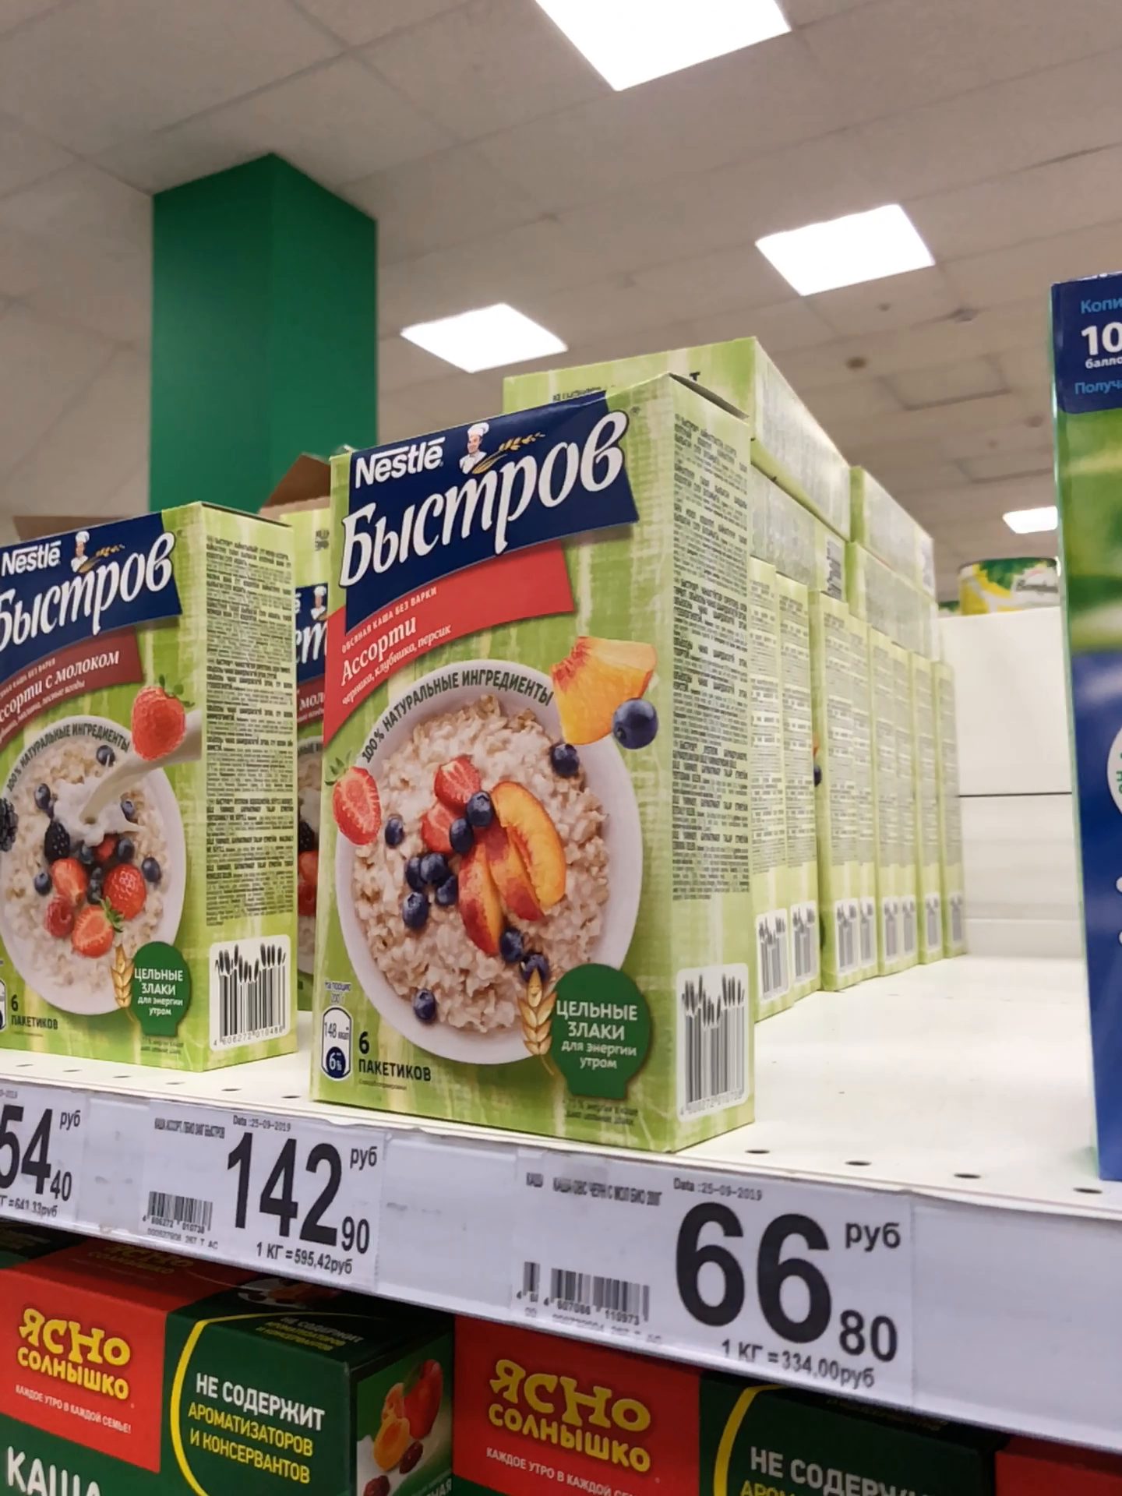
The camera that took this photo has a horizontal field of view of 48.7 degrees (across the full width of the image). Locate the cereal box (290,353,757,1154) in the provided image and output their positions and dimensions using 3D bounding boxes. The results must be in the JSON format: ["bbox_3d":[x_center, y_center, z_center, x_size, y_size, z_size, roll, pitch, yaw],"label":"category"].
[{"bbox_3d":[-0.013,0.003,0.366,0.130,0.200,0.050,-4,-9,36],"label":"cereal box"}]
